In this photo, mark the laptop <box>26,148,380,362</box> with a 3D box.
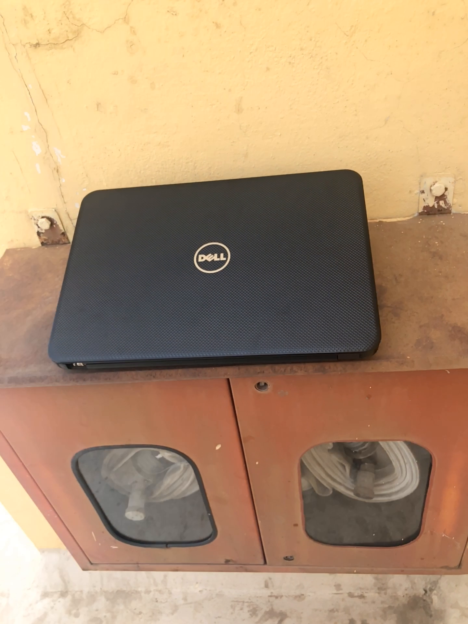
[{"bbox_3d":[-0.026,-0.064,0.589,0.352,0.098,0.184,-3,50,9],"label":"laptop"}]
